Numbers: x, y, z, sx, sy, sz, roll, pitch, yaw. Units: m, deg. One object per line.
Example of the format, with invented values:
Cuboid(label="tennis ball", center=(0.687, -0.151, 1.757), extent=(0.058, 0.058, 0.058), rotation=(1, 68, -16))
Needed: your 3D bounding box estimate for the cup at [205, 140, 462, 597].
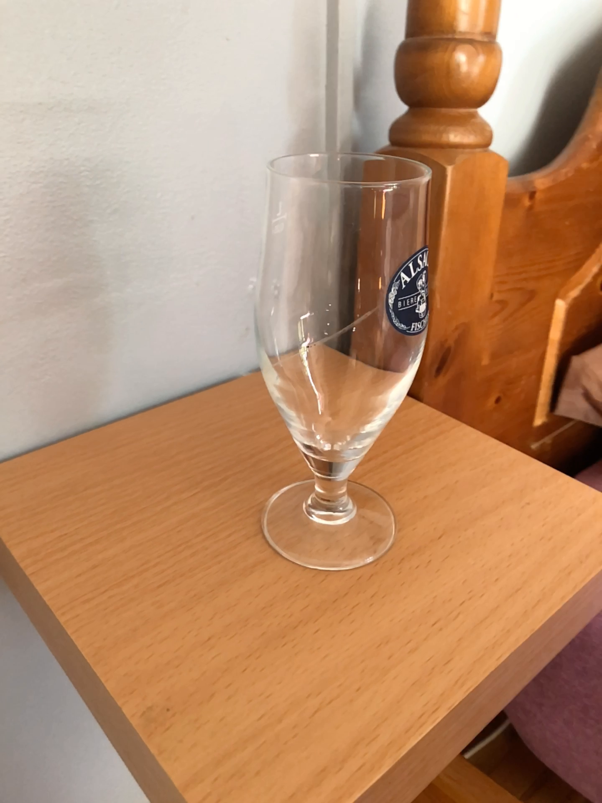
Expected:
Cuboid(label="cup", center=(0.012, -0.014, 0.281), extent=(0.068, 0.166, 0.068), rotation=(1, 28, 0))
